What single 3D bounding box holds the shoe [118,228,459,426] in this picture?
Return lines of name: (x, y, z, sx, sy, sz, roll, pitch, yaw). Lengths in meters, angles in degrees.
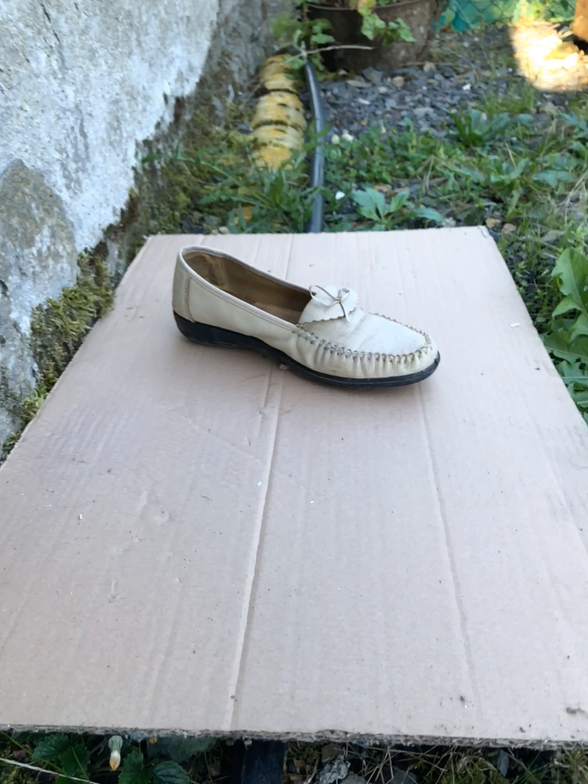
shoe: (-0.005, -0.064, 0.550, 0.260, 0.080, 0.101, 14, 45, 24)
